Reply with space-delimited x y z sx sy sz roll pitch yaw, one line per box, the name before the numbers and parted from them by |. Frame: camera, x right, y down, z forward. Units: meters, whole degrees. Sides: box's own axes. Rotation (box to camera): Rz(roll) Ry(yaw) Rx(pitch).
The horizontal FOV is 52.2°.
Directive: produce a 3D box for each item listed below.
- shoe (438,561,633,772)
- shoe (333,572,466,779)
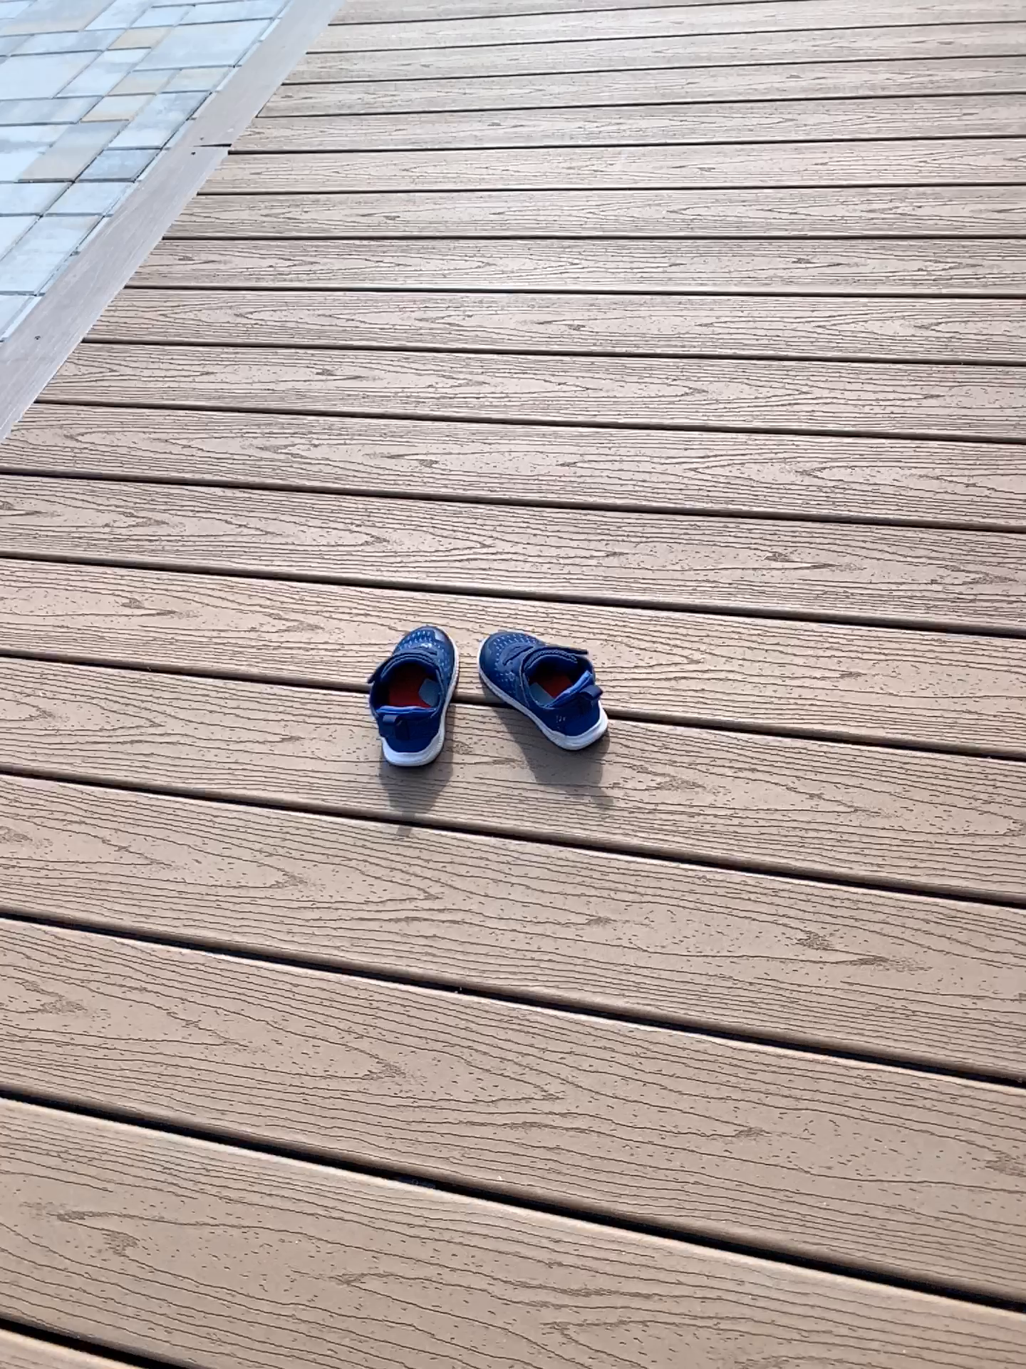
shoe | 0.021 -0.019 0.962 0.080 0.090 0.171 -35 54 -18
shoe | -0.100 -0.010 0.965 0.080 0.090 0.171 -1 51 9
